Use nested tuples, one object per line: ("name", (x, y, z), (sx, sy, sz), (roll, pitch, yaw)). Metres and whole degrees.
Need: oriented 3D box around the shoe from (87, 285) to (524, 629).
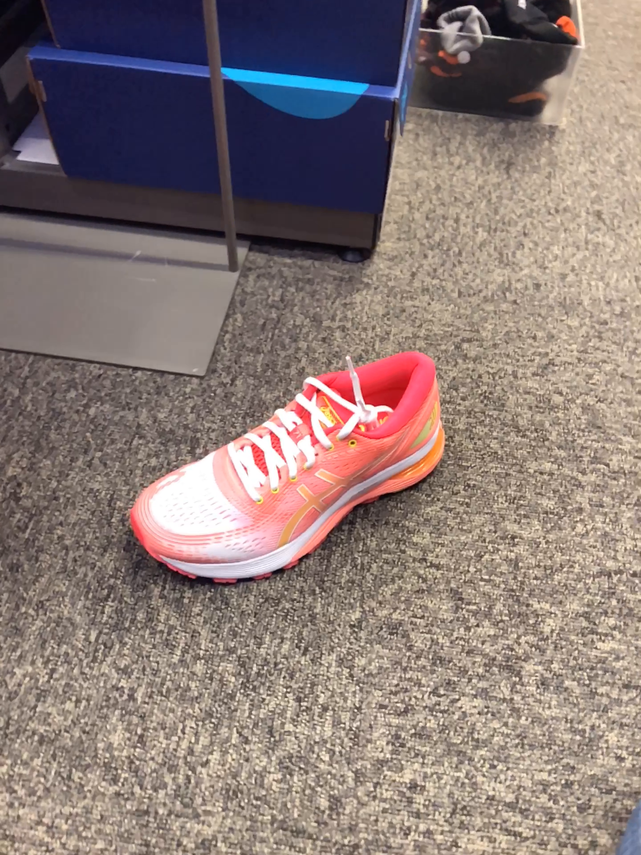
("shoe", (-0.008, 0.017, 0.515), (0.269, 0.129, 0.107), (-22, 56, -18))
